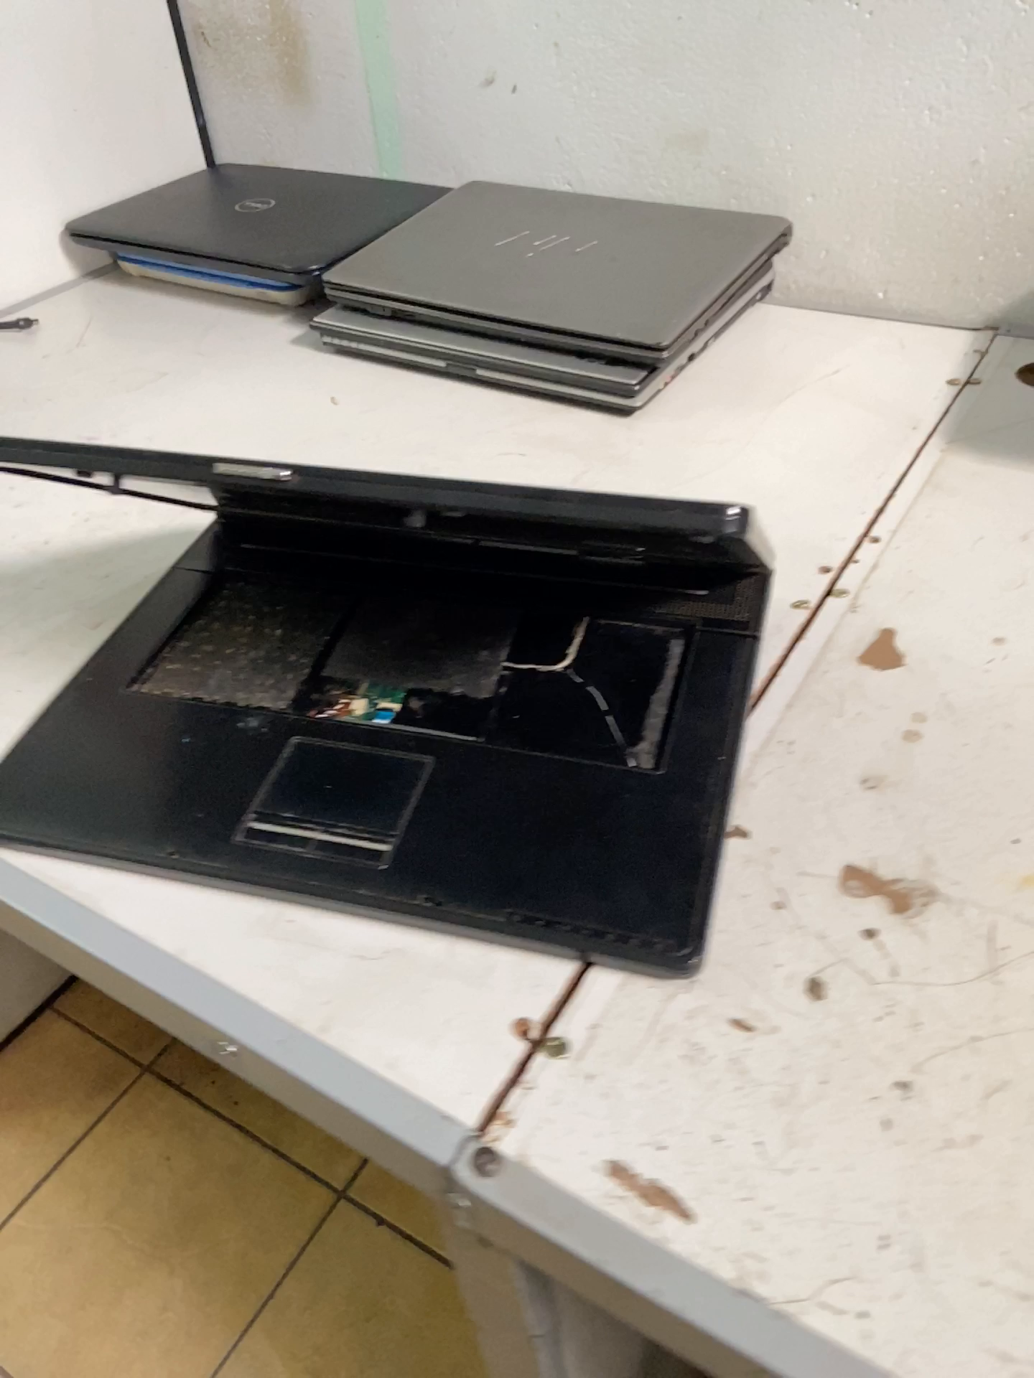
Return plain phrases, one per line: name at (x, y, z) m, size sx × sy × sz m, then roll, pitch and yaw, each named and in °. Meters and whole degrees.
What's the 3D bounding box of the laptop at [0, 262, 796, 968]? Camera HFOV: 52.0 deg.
laptop at (-0.066, -0.063, 0.501) m, size 0.348 × 0.164 × 0.261 m, roll 8°, pitch 43°, yaw 15°
